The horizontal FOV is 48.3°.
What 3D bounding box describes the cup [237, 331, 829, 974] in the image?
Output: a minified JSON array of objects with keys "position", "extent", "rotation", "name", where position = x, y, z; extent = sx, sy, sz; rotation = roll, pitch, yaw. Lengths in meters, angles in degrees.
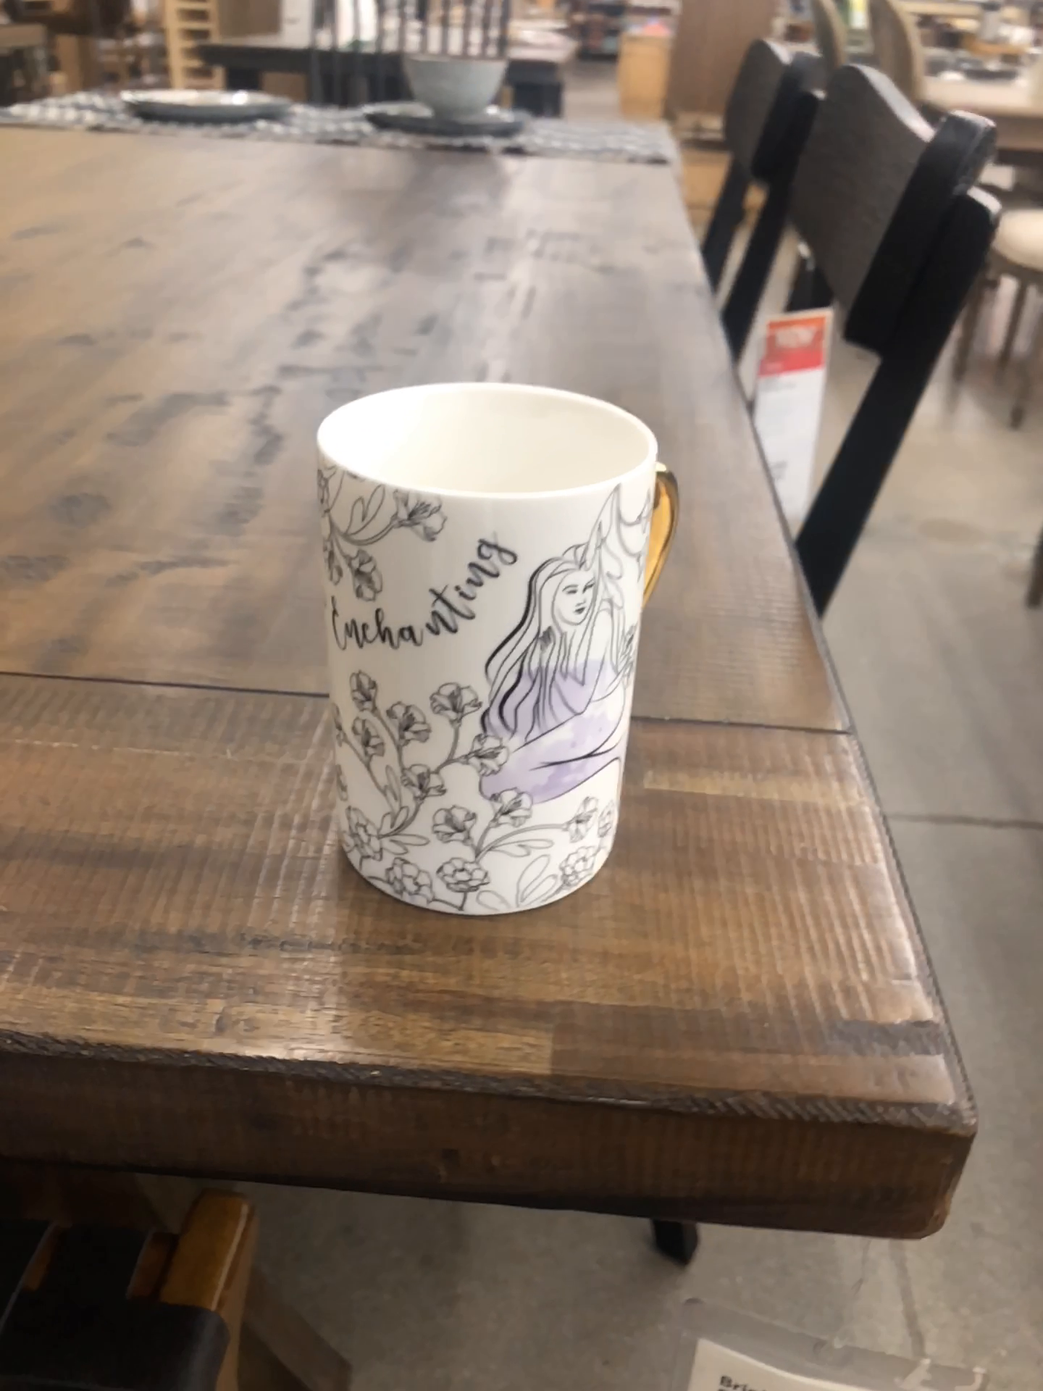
[{"position":[0.006,-0.021,0.304],"extent":[0.082,0.111,0.122],"rotation":[24,37,32],"name":"cup"}]
